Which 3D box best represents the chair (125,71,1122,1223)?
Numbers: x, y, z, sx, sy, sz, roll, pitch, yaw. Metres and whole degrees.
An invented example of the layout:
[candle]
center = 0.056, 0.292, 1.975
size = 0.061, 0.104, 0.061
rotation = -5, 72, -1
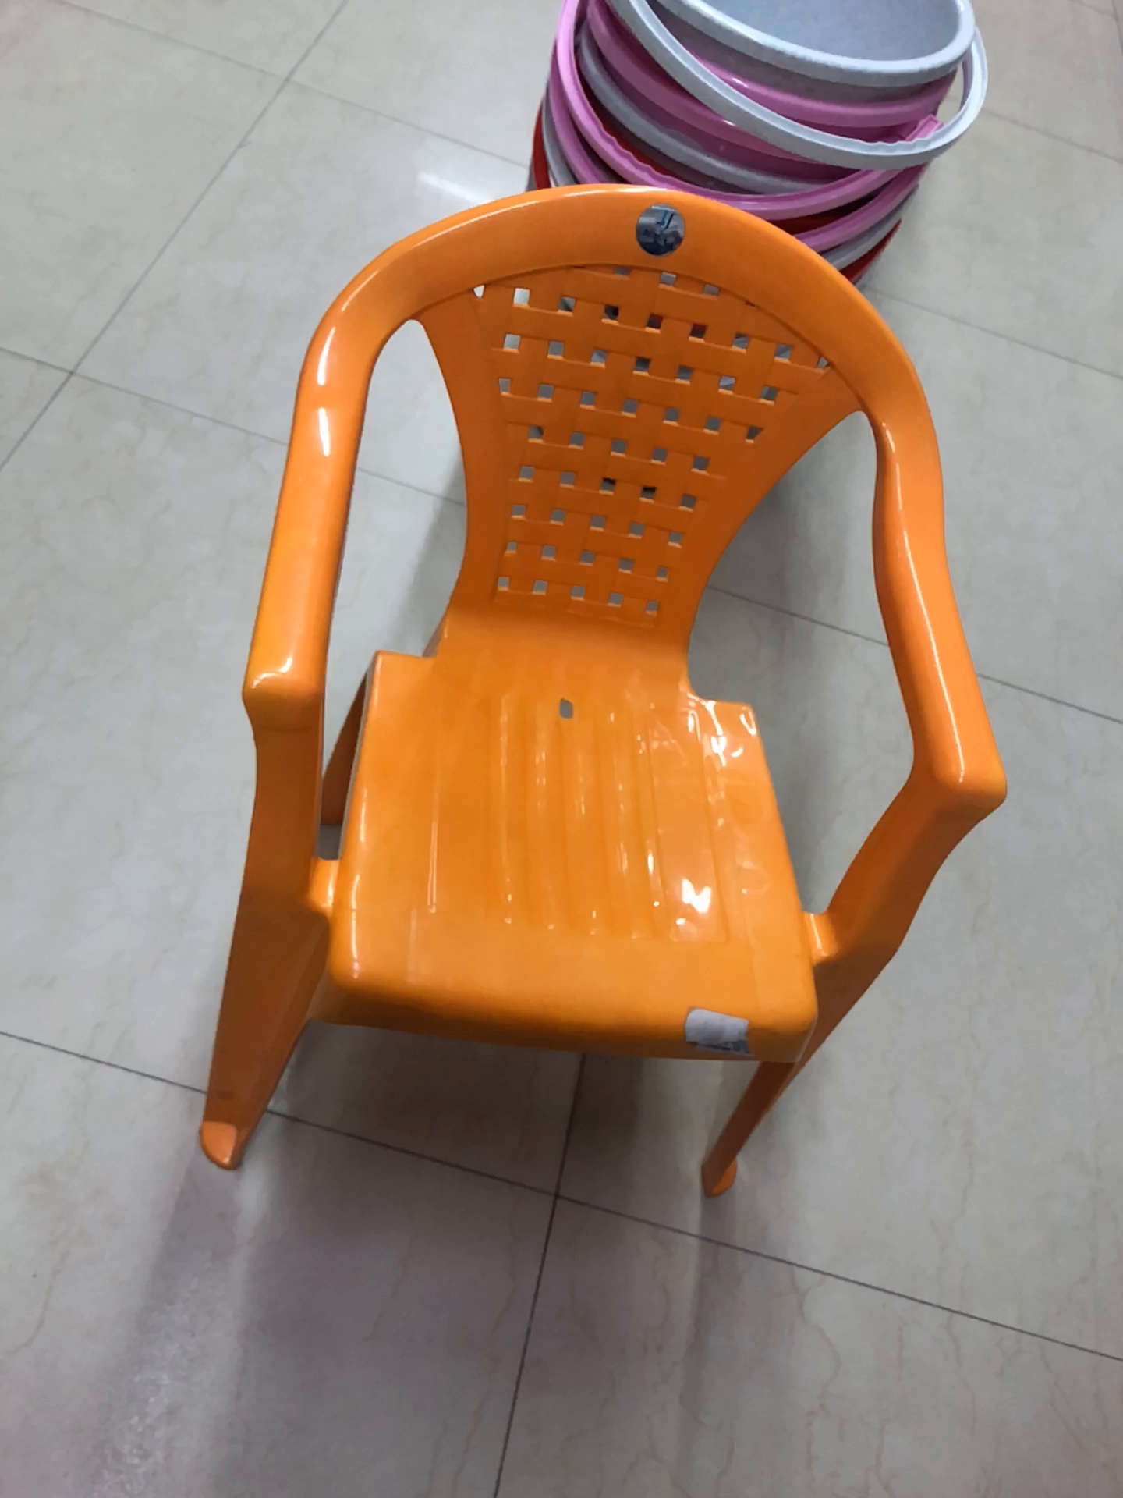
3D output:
[chair]
center = 0.005, -0.010, 0.714
size = 0.390, 0.468, 0.402
rotation = 9, 54, -11
